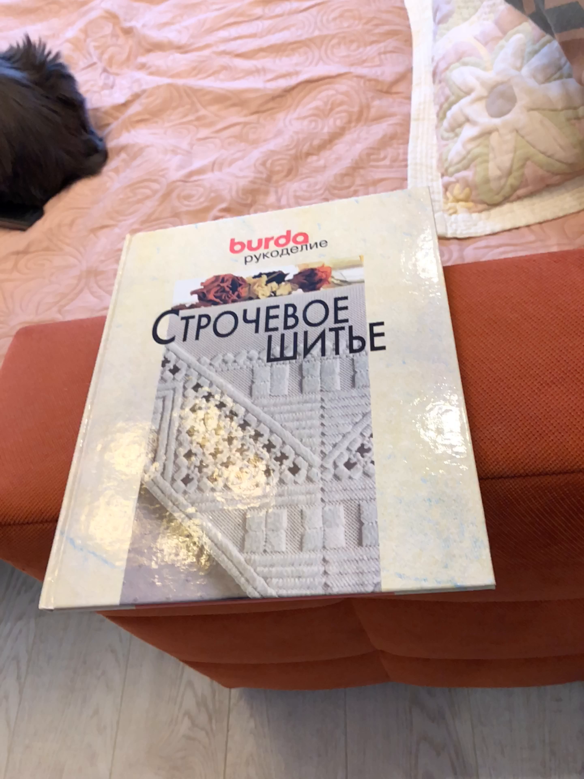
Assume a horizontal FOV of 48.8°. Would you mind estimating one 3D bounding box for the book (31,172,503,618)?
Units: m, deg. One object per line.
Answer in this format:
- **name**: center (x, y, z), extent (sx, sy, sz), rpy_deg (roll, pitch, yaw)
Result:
- **book**: center (-0.015, -0.011, 0.363), extent (0.215, 0.020, 0.259), rpy_deg (-6, 56, 11)
